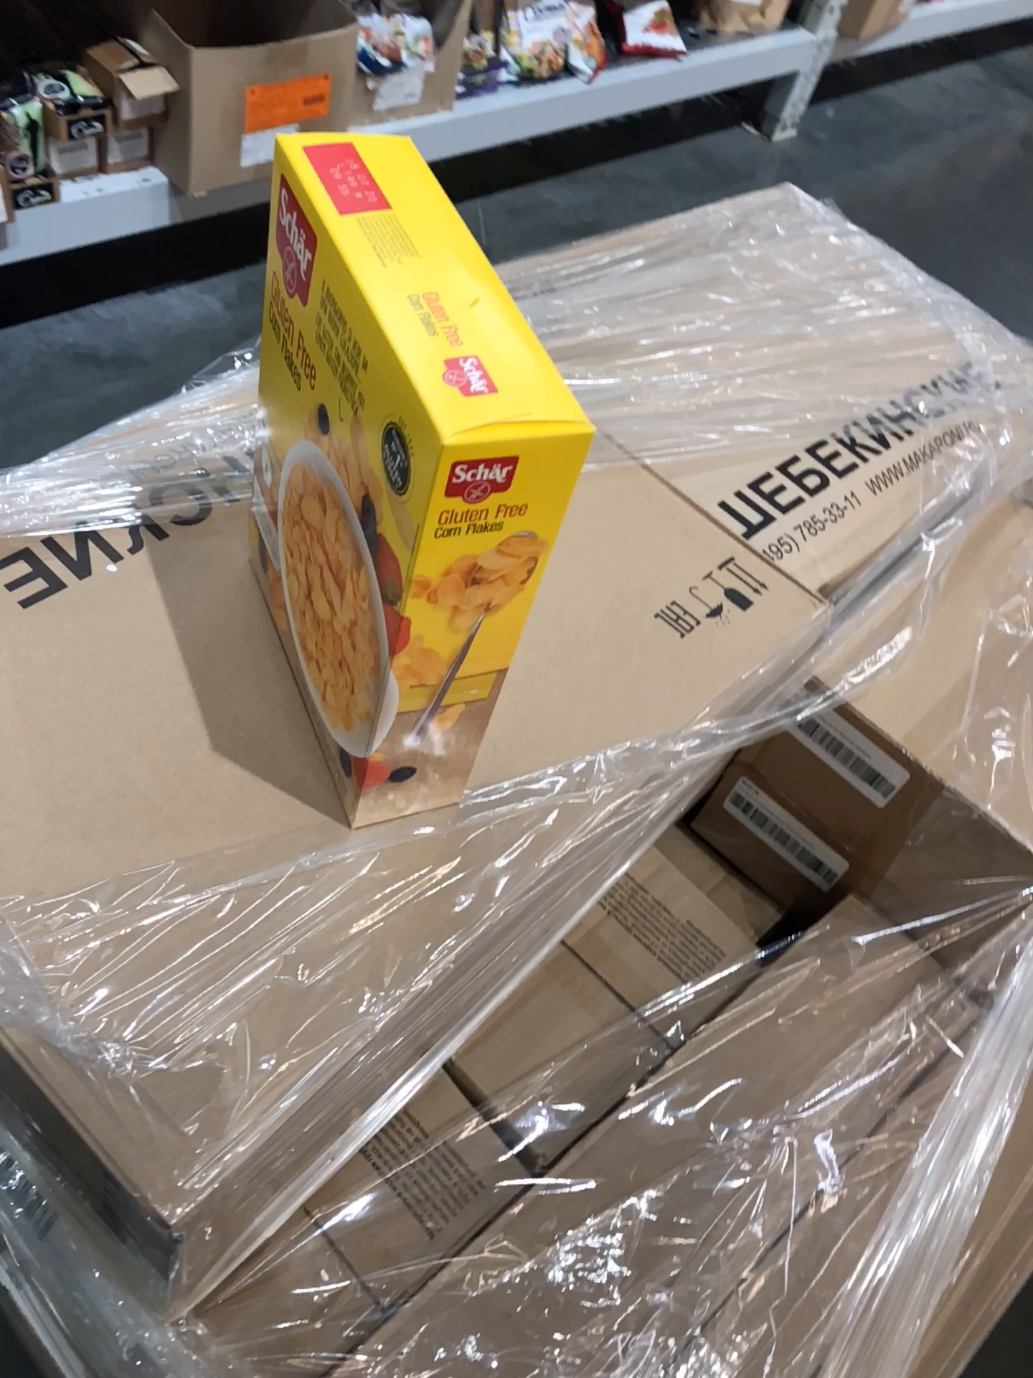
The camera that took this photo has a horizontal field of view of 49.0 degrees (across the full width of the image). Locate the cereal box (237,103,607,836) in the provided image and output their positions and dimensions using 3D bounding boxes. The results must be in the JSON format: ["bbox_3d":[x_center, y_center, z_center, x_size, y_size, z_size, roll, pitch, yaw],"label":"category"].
[{"bbox_3d":[-0.064,-0.087,0.512,0.060,0.248,0.201,-12,57,-24],"label":"cereal box"}]
